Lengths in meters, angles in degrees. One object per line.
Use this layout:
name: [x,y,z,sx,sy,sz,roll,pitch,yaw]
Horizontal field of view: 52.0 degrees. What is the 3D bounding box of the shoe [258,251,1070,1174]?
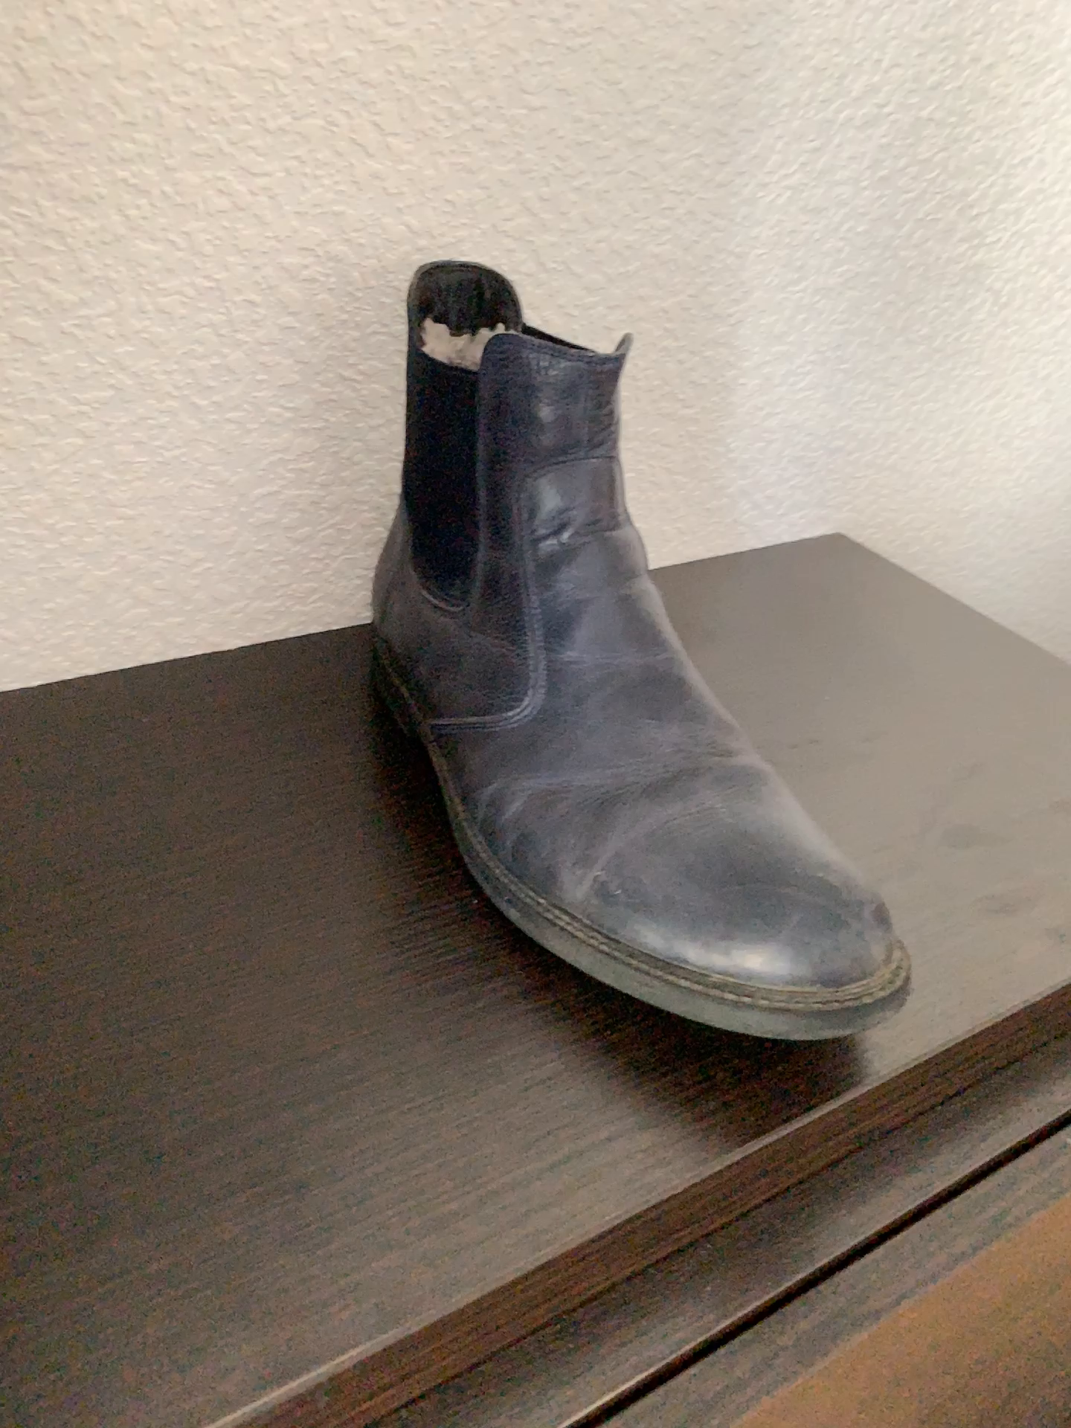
shoe: [0.012,-0.037,0.370,0.110,0.159,0.301,-13,38,-28]
